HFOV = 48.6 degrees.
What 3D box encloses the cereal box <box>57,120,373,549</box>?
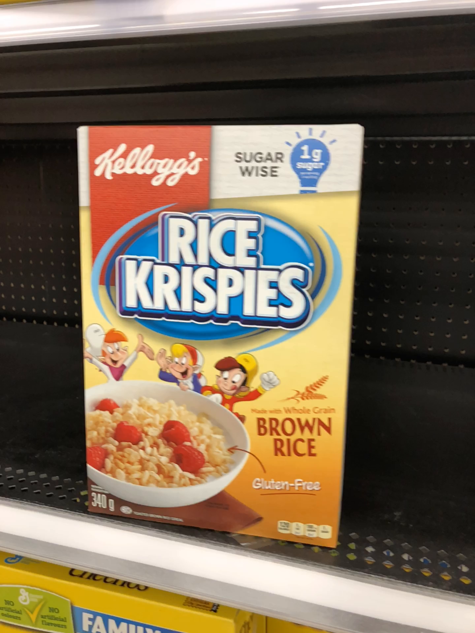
[{"bbox_3d":[-0.018,0.010,0.395,0.210,0.289,0.060,4,11,12],"label":"cereal box"}]
